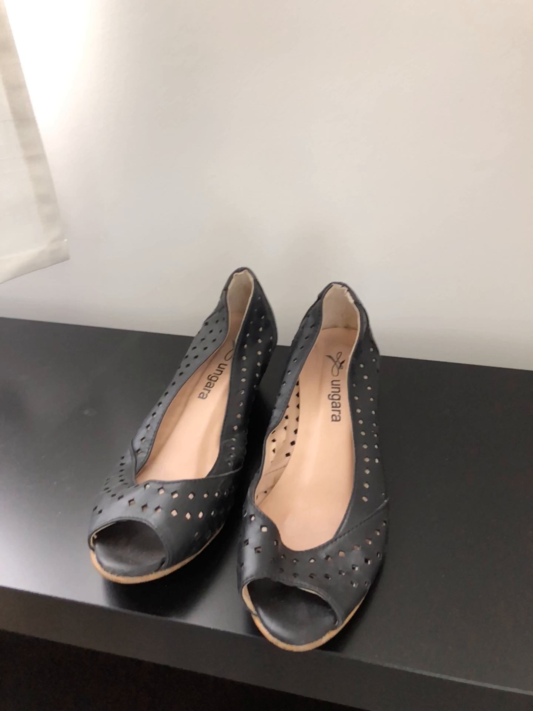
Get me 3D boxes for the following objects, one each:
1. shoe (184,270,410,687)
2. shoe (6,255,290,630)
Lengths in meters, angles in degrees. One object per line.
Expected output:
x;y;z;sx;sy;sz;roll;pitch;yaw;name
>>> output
0.033;0.049;0.345;0.085;0.100;0.221;6;36;11;shoe
-0.051;0.034;0.383;0.085;0.100;0.231;7;37;12;shoe
